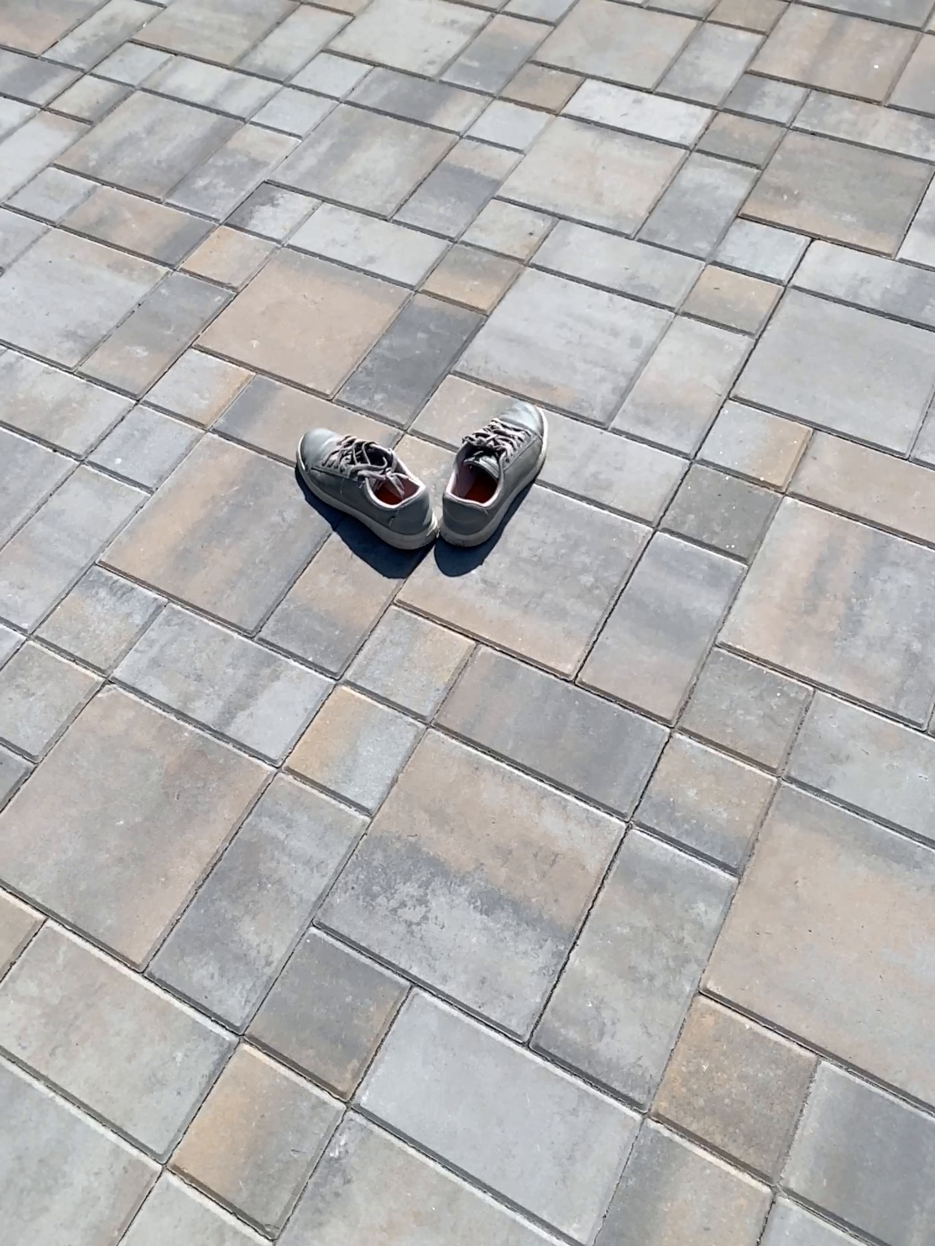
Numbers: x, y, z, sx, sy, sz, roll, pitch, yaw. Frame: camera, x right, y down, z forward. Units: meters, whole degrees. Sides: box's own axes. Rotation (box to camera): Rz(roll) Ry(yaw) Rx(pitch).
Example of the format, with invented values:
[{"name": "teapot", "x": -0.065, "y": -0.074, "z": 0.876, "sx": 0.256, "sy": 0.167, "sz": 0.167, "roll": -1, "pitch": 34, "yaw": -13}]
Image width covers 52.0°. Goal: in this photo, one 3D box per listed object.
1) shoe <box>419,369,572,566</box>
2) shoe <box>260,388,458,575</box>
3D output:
[{"name": "shoe", "x": 0.049, "y": -0.251, "z": 1.520, "sx": 0.120, "sy": 0.090, "sz": 0.300, "roll": 22, "pitch": 63, "yaw": 14}, {"name": "shoe", "x": -0.169, "y": -0.226, "z": 1.512, "sx": 0.301, "sy": 0.110, "sz": 0.120, "roll": 37, "pitch": 68, "yaw": 21}]
